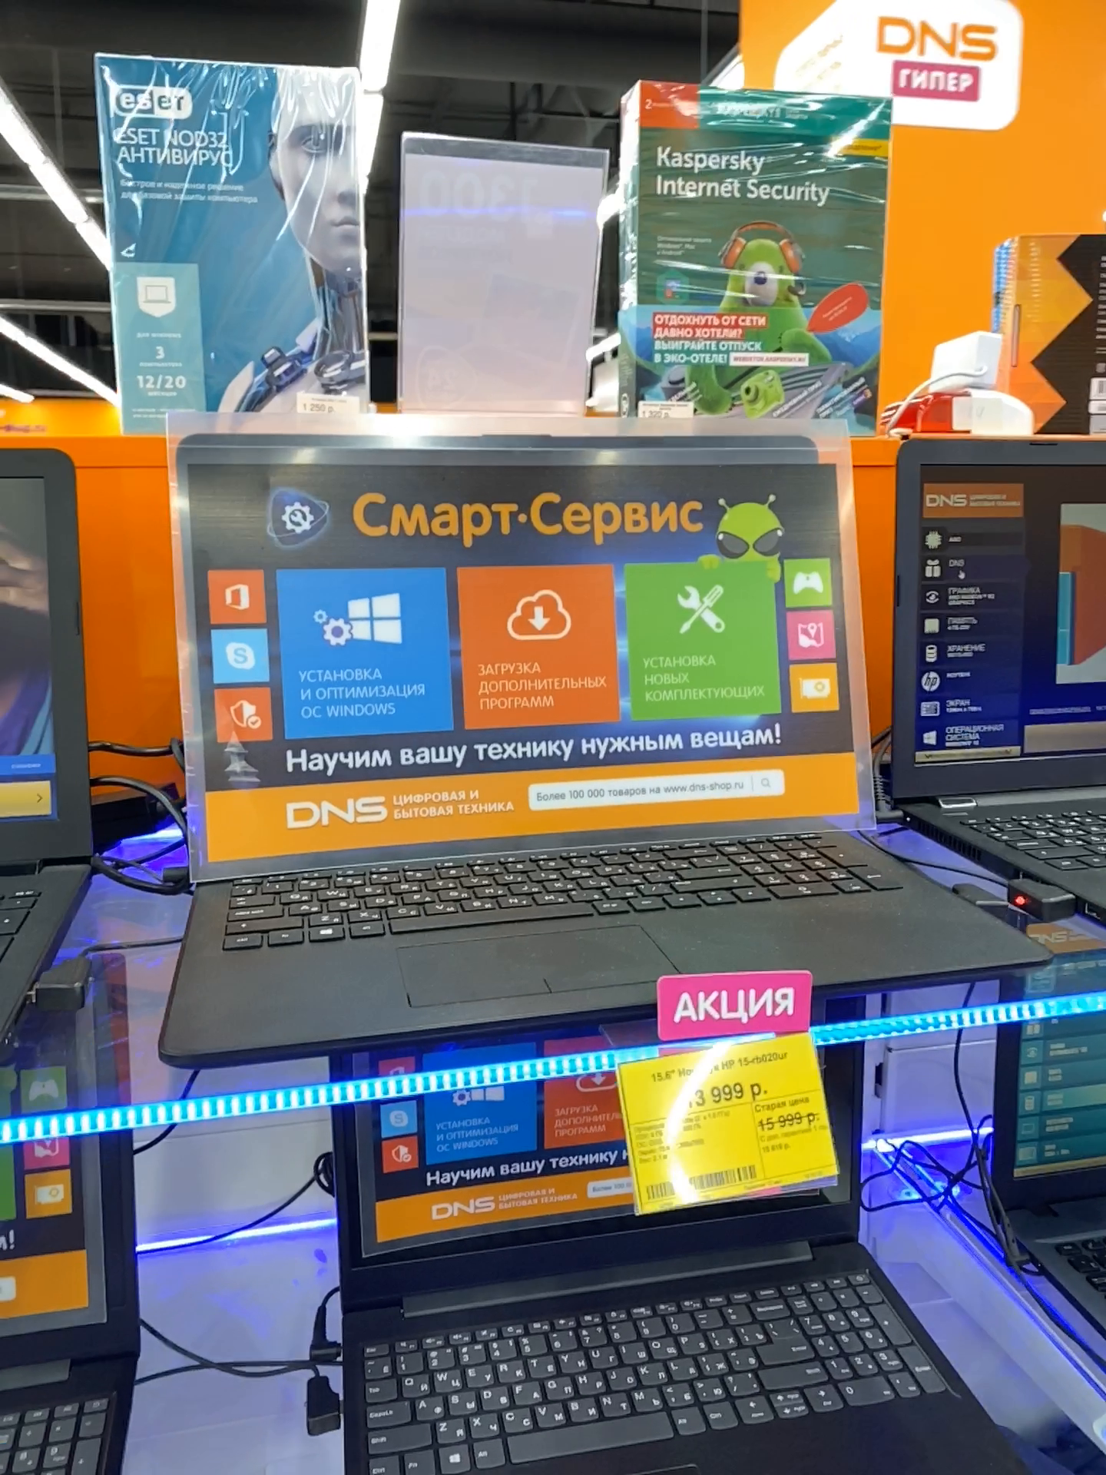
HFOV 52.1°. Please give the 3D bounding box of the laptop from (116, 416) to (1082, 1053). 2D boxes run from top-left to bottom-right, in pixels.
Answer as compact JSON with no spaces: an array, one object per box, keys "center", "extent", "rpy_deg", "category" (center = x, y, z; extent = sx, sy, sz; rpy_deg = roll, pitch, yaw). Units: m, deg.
[{"center":[0.007,-0.034,0.574],"extent":[0.377,0.235,0.262],"rpy_deg":[-3,12,-11],"category":"laptop"}]
